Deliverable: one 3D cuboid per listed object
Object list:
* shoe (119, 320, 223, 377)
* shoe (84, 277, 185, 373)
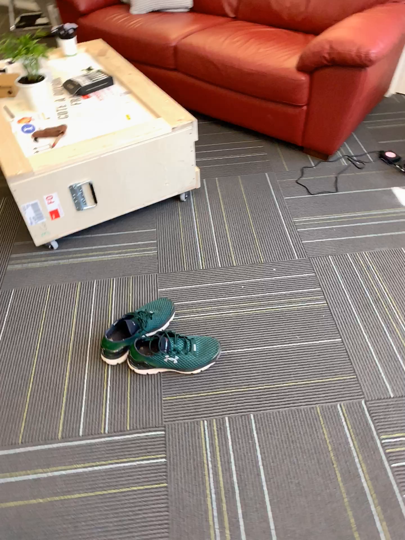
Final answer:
[{"bbox_3d":[-0.093,0.249,1.313,0.310,0.119,0.121,-3,47,0],"label":"shoe"},{"bbox_3d":[-0.215,0.176,1.368,0.310,0.109,0.121,-37,56,-27],"label":"shoe"}]
